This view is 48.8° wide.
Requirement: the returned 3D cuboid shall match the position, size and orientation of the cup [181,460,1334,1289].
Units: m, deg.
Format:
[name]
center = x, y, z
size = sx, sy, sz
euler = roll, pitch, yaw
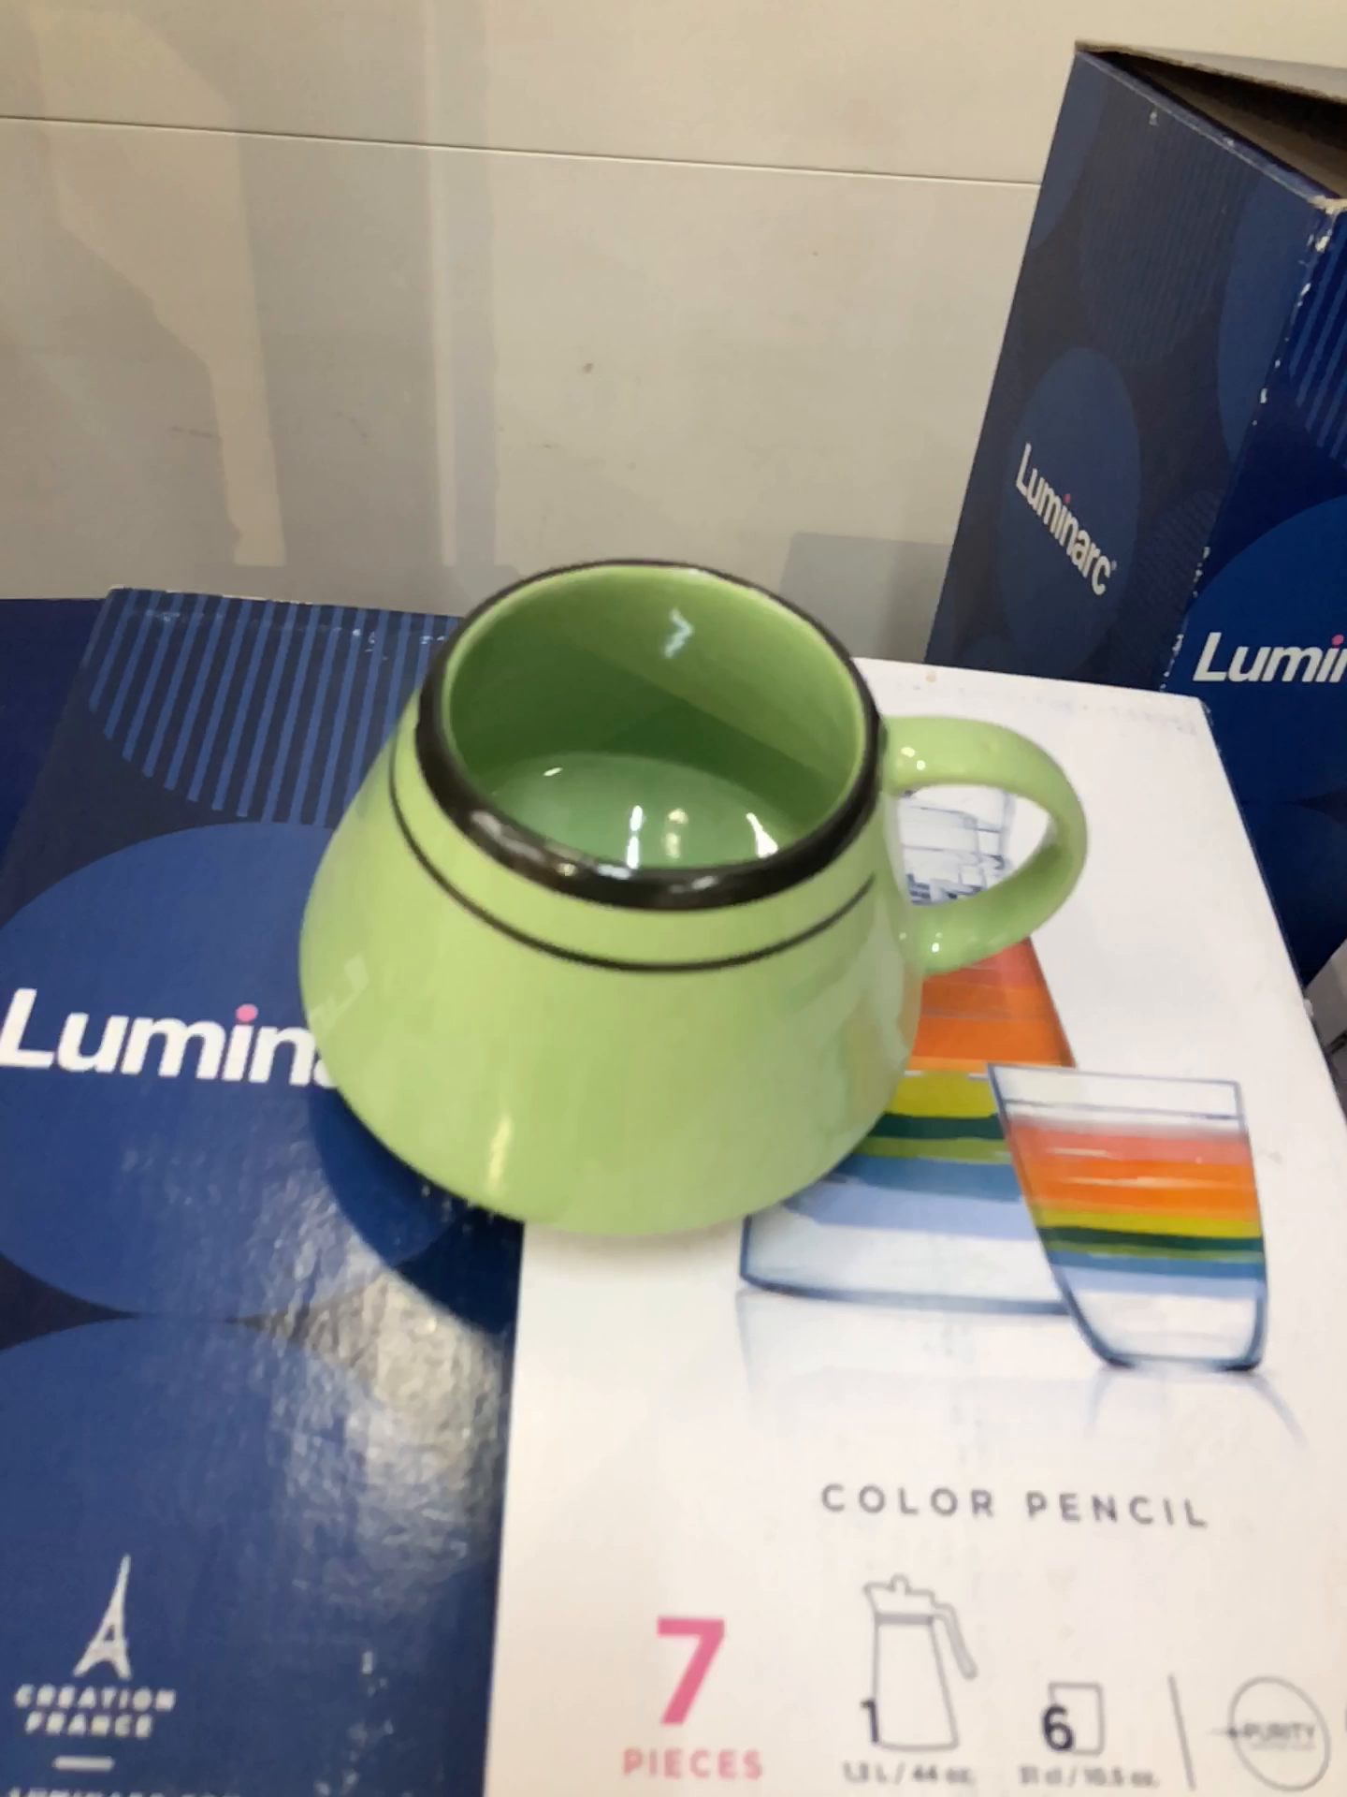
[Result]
[cup]
center = 0.010, -0.008, 0.244
size = 0.140, 0.070, 0.111
euler = 4, 43, -2
